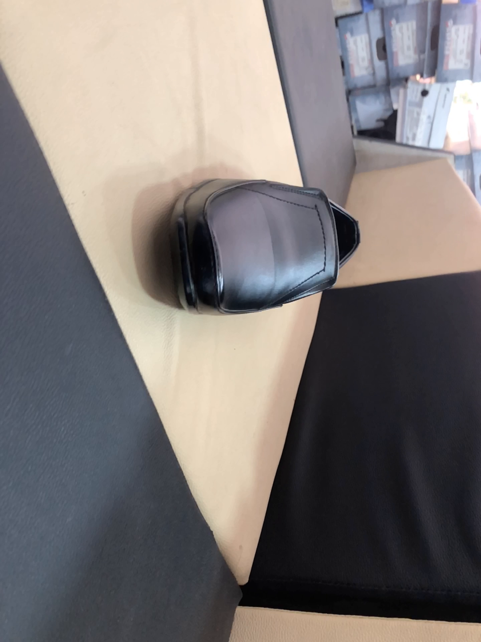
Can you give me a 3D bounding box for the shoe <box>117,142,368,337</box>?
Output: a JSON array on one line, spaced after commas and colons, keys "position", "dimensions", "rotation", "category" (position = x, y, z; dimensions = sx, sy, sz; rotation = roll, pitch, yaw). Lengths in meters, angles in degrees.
[{"position": [0.031, -0.068, 0.440], "dimensions": [0.292, 0.099, 0.100], "rotation": [-27, 112, -67], "category": "shoe"}]
